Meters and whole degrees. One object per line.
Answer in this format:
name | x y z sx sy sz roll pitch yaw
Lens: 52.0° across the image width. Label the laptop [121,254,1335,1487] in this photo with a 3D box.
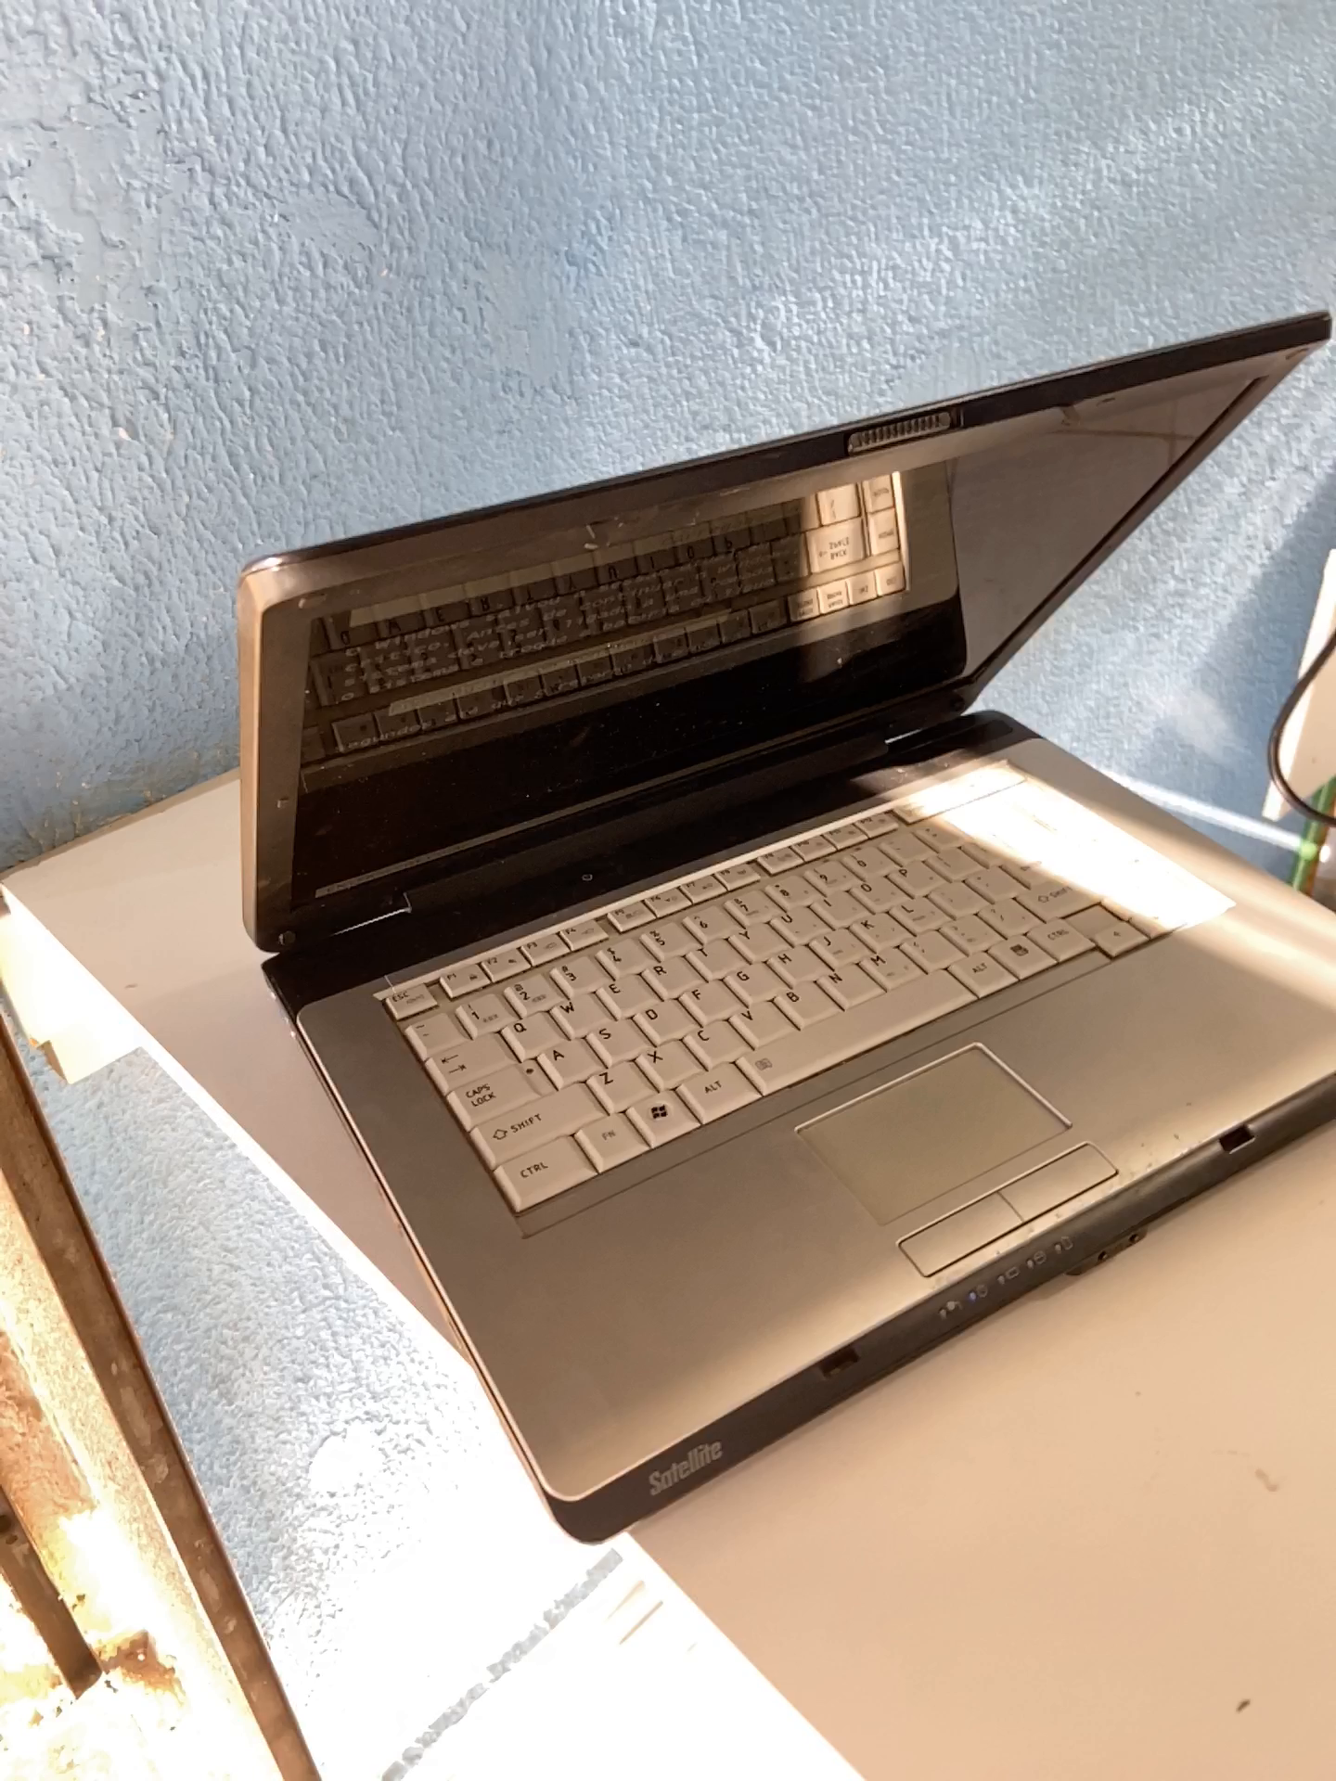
laptop | 0.060 -0.050 0.440 0.352 0.202 0.247 -20 39 -23
